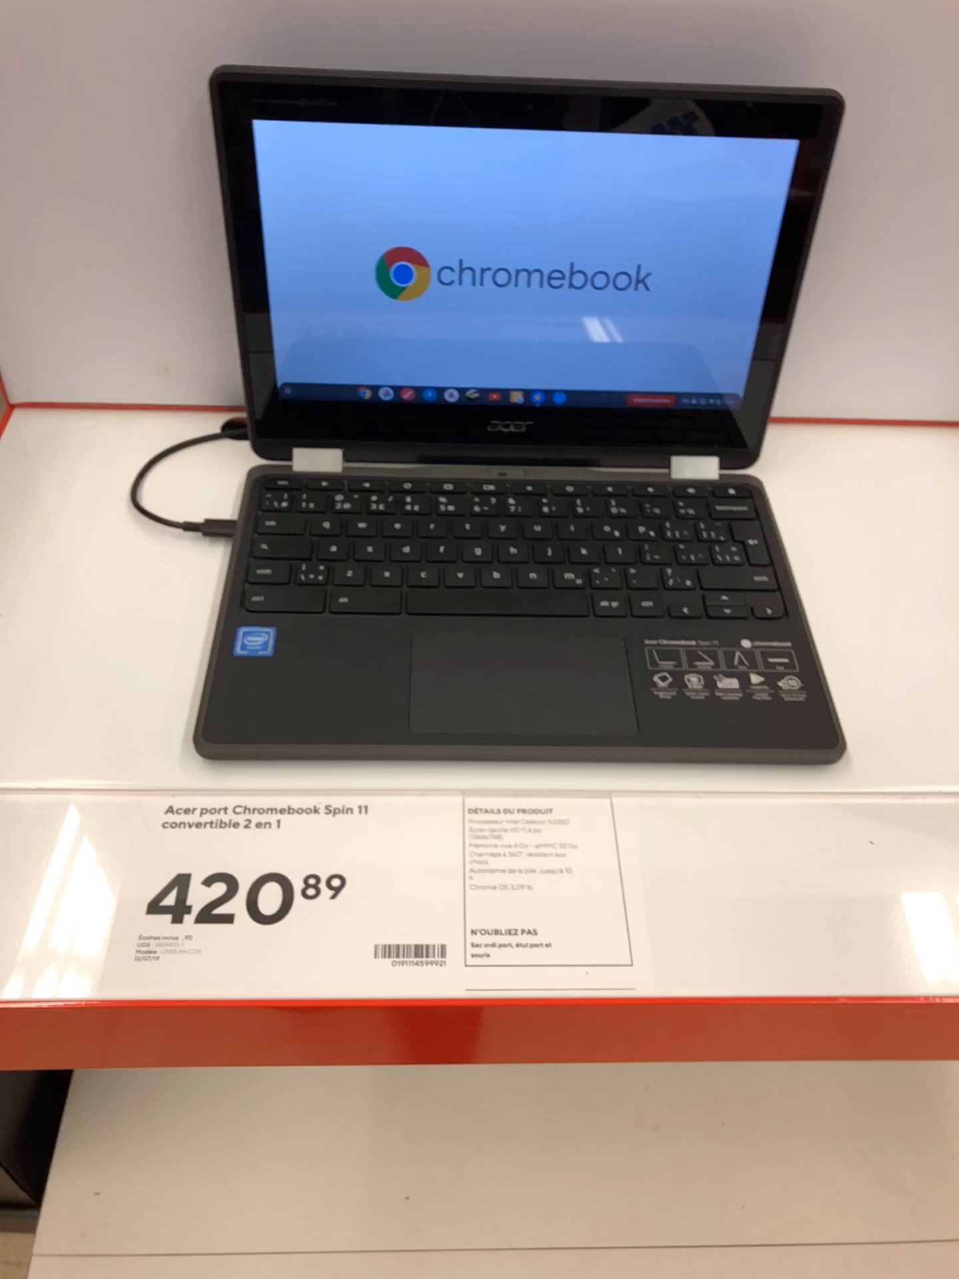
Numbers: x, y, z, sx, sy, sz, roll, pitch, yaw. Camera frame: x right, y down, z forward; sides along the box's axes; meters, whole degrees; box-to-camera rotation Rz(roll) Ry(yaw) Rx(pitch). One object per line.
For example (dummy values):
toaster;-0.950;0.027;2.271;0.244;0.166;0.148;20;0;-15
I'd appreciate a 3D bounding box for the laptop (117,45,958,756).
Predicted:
laptop;0.022;-0.112;0.495;0.289;0.198;0.253;0;49;-3
